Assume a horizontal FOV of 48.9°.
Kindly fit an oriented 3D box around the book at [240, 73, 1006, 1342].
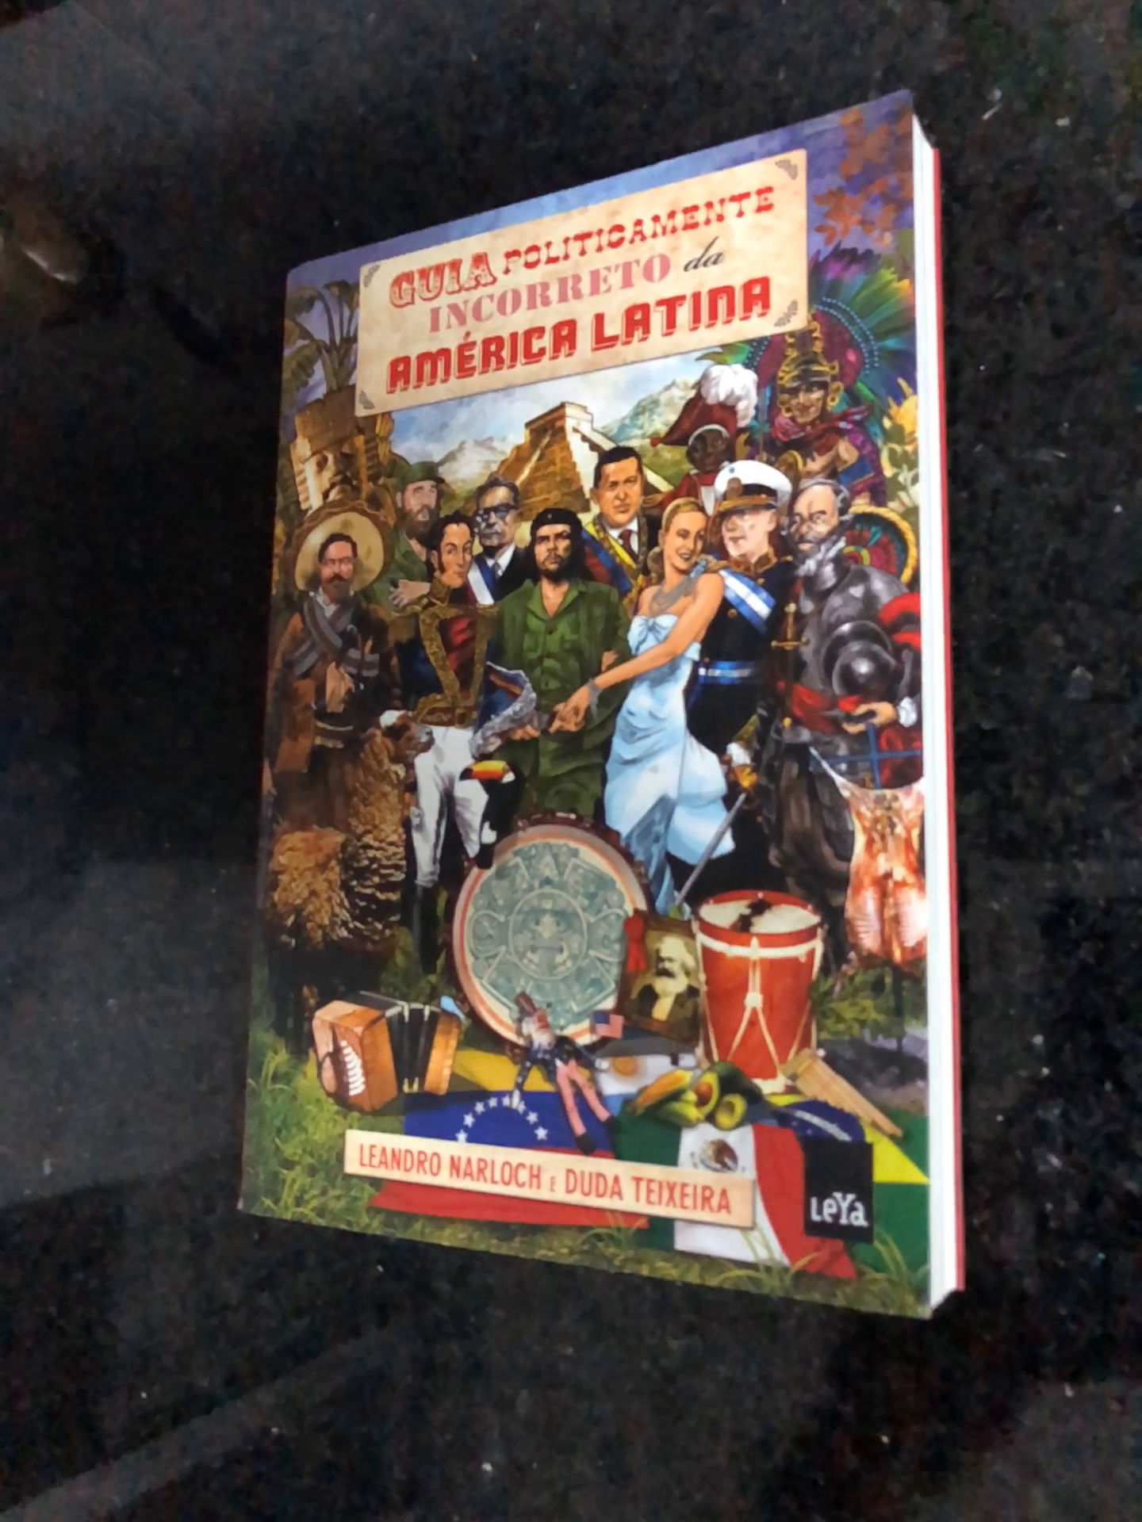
[{"bbox_3d":[0.007,-0.011,0.266,0.150,0.040,0.220,-3,81,27],"label":"book"}]
